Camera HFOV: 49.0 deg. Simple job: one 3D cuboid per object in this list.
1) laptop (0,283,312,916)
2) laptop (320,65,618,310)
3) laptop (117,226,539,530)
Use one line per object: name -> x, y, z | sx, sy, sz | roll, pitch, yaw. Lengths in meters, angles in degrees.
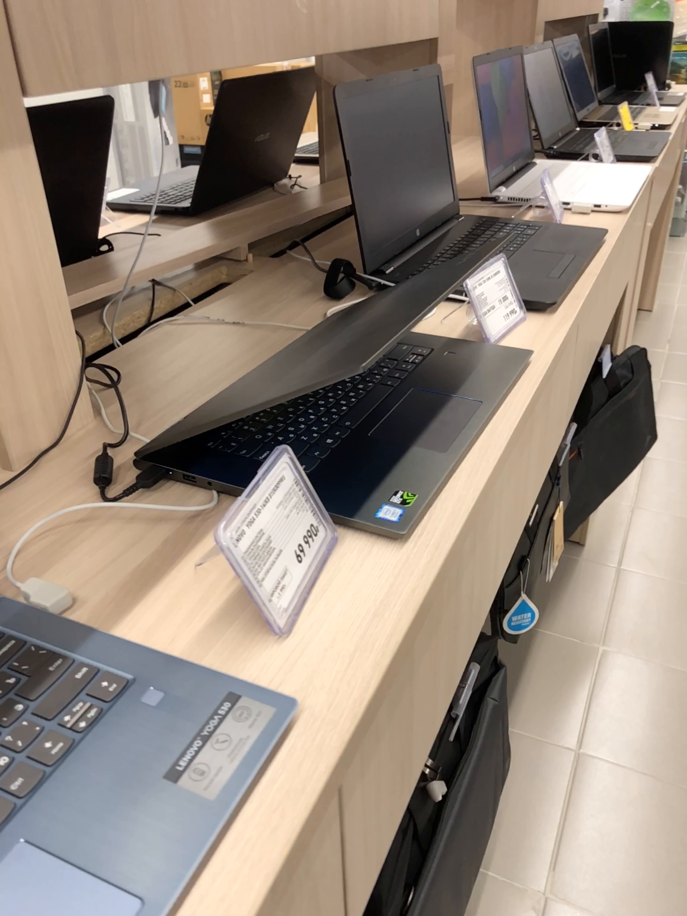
laptop -> -0.261, 0.092, 0.292 | 0.342, 0.201, 0.355 | 11, 31, 21
laptop -> 0.200, -0.422, 1.111 | 0.304, 0.240, 0.403 | 13, 33, 20
laptop -> 0.014, -0.107, 0.711 | 0.242, 0.118, 0.364 | 13, 33, 23
